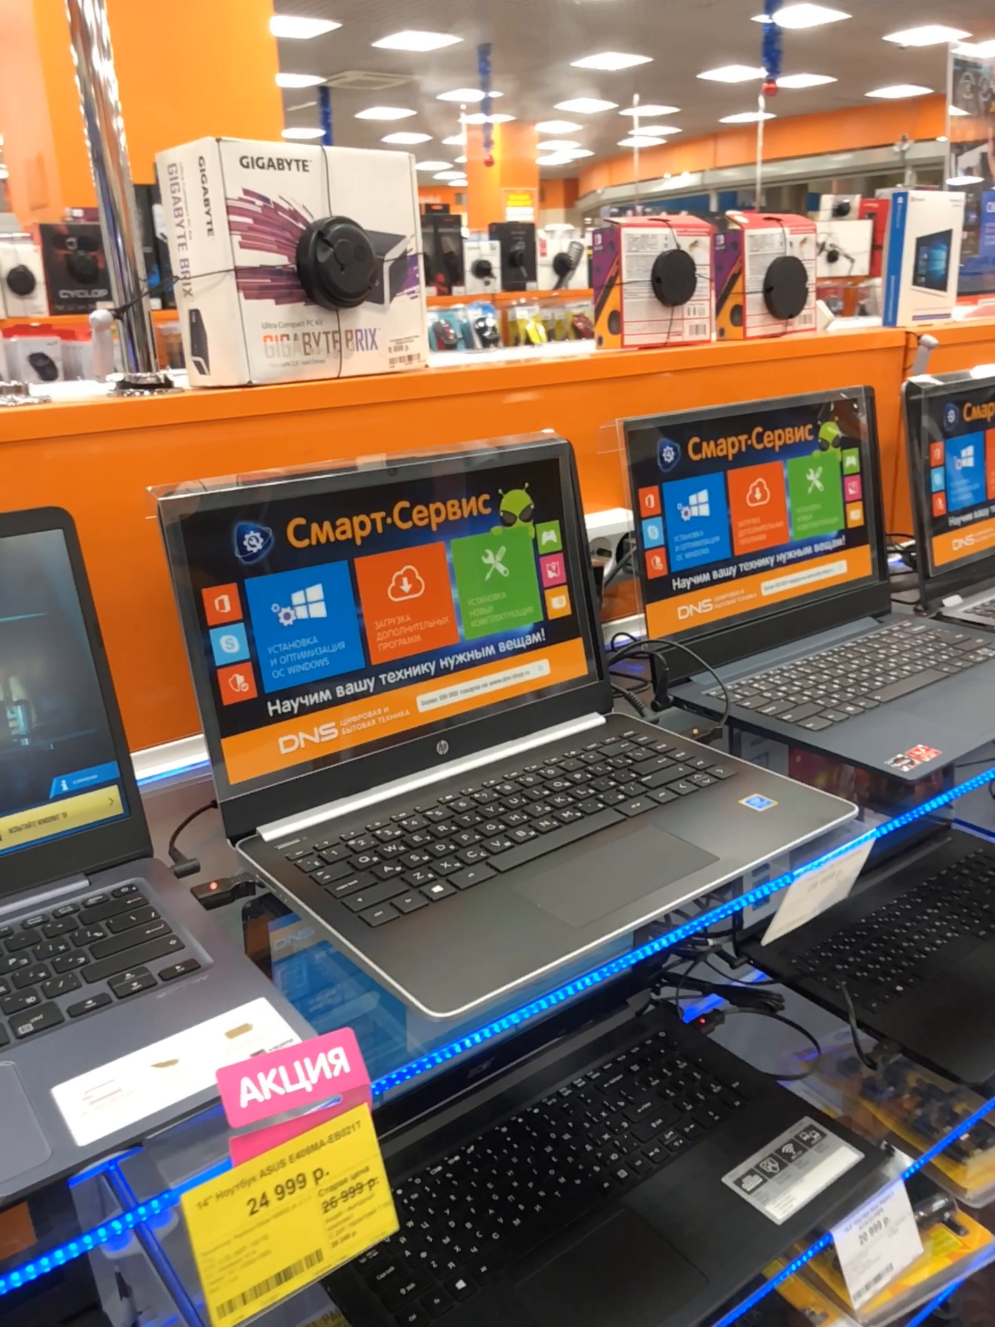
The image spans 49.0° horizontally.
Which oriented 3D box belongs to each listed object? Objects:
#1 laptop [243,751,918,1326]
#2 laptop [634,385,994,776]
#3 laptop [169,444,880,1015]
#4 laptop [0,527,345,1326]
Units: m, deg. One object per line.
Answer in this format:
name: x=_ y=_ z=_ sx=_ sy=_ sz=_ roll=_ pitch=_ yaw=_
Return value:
laptop: x=0.059 y=0.260 z=0.752 sx=0.363 sy=0.245 sz=0.251 roll=-16 pitch=23 yaw=-34
laptop: x=0.303 y=-0.088 z=0.848 sx=0.277 sy=0.205 sz=0.249 roll=-16 pitch=24 yaw=-32
laptop: x=0.015 y=-0.002 z=0.658 sx=0.313 sy=0.197 sz=0.267 roll=-16 pitch=24 yaw=-35
laptop: x=-0.291 y=0.074 z=0.468 sx=0.313 sy=0.199 sz=0.279 roll=-15 pitch=21 yaw=-36
